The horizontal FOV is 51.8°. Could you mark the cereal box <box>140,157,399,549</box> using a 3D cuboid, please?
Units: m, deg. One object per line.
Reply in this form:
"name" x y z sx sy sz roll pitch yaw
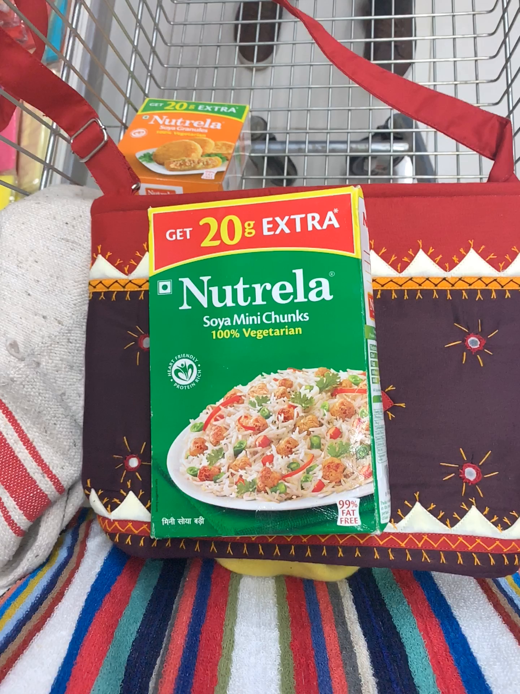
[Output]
"cereal box" 0.003 0.004 0.294 0.120 0.050 0.190 -4 82 7
